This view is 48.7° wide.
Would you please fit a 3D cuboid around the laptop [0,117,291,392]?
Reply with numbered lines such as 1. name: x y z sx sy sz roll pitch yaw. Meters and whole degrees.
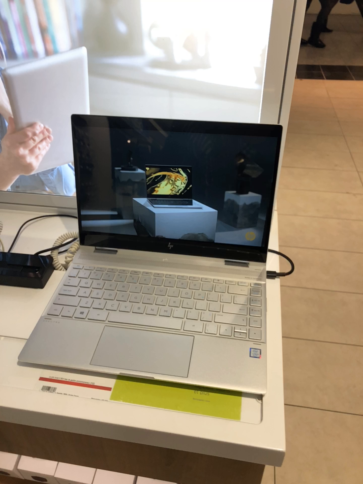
1. laptop: -0.030 -0.009 0.522 0.299 0.193 0.283 5 39 9
